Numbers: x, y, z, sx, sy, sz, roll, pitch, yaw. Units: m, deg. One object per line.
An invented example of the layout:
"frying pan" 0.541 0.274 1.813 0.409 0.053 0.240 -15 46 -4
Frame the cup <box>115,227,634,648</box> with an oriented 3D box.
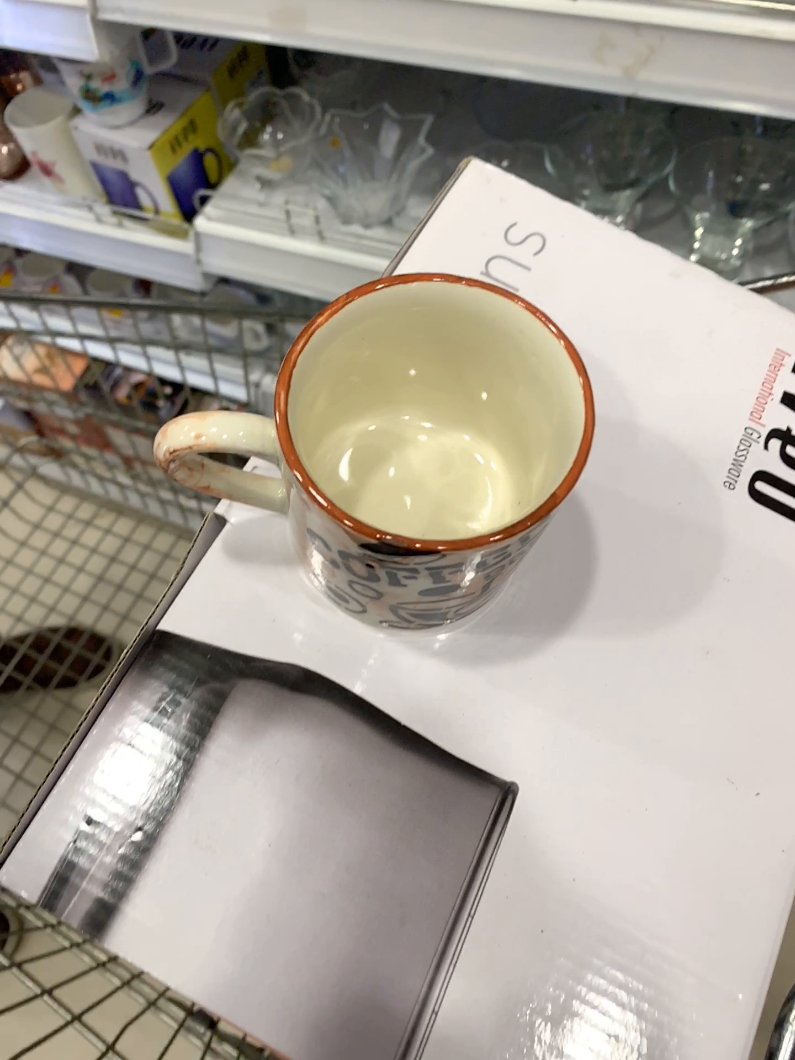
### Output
"cup" -0.006 -0.019 0.206 0.100 0.070 0.070 4 61 -4
